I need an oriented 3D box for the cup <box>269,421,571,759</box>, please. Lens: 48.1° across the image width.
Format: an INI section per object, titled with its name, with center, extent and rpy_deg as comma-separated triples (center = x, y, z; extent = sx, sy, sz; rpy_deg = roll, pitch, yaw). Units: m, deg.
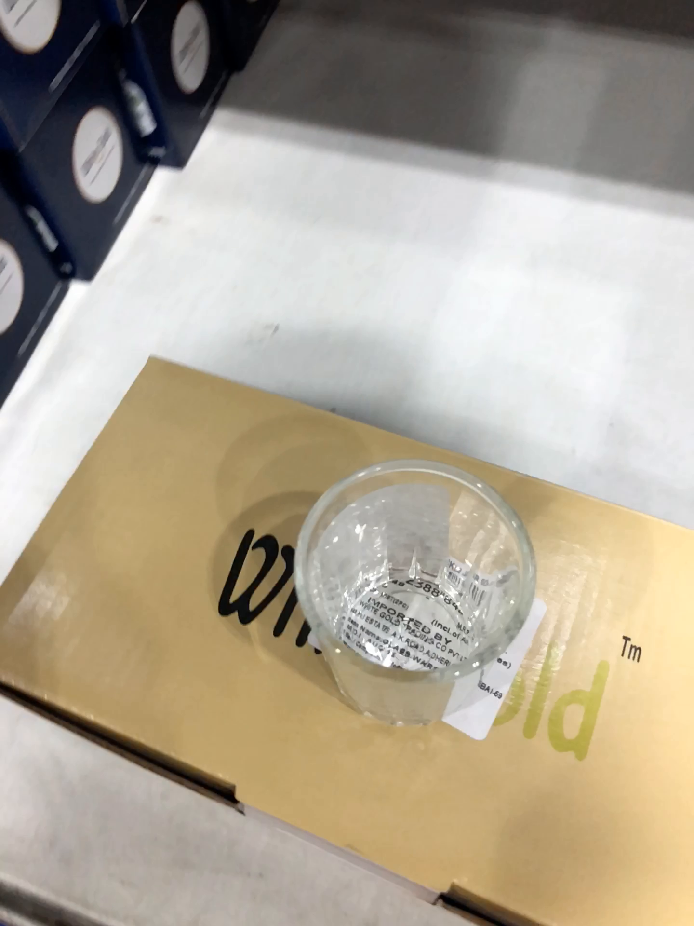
[cup]
center = 0.016, 0.030, 0.167
extent = 0.050, 0.060, 0.050
rpy_deg = -2, 62, 3
